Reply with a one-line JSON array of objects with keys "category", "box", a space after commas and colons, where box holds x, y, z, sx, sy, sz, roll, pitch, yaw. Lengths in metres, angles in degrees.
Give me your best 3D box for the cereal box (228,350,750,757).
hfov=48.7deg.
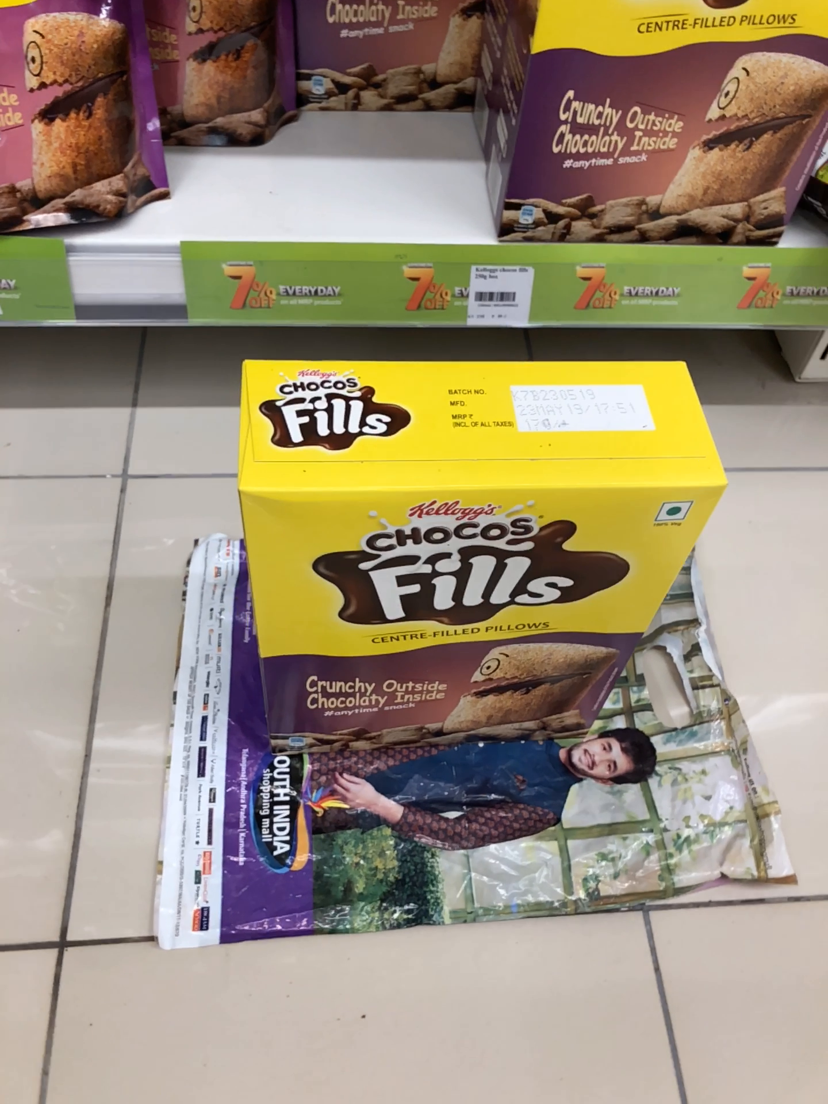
[{"category": "cereal box", "box": [0.018, 0.015, 0.441, 0.190, 0.229, 0.070, -2, 55, -7]}]
